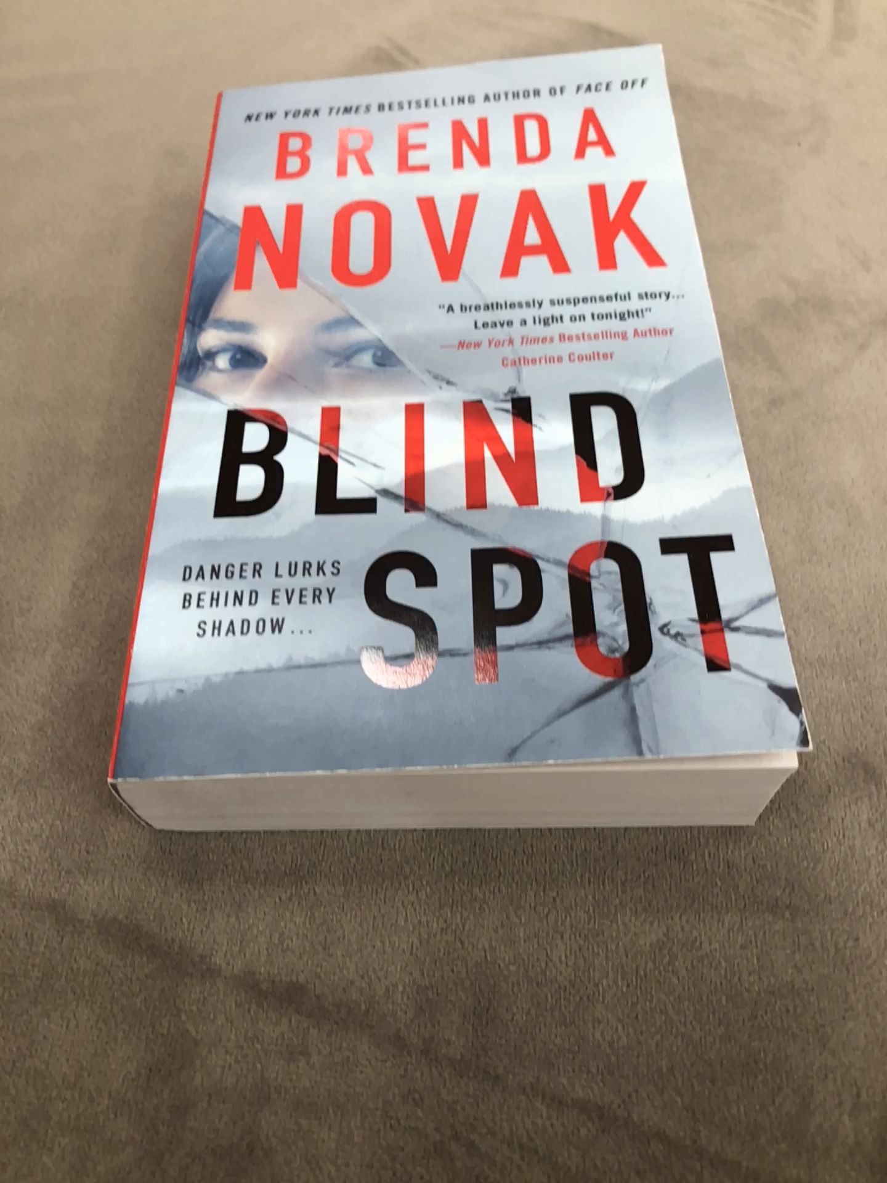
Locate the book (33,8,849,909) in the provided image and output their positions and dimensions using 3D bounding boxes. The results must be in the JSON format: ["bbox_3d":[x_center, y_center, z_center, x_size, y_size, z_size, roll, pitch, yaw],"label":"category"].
[{"bbox_3d":[-0.002,-0.038,0.214,0.120,0.050,0.191,-5,59,6],"label":"book"}]
